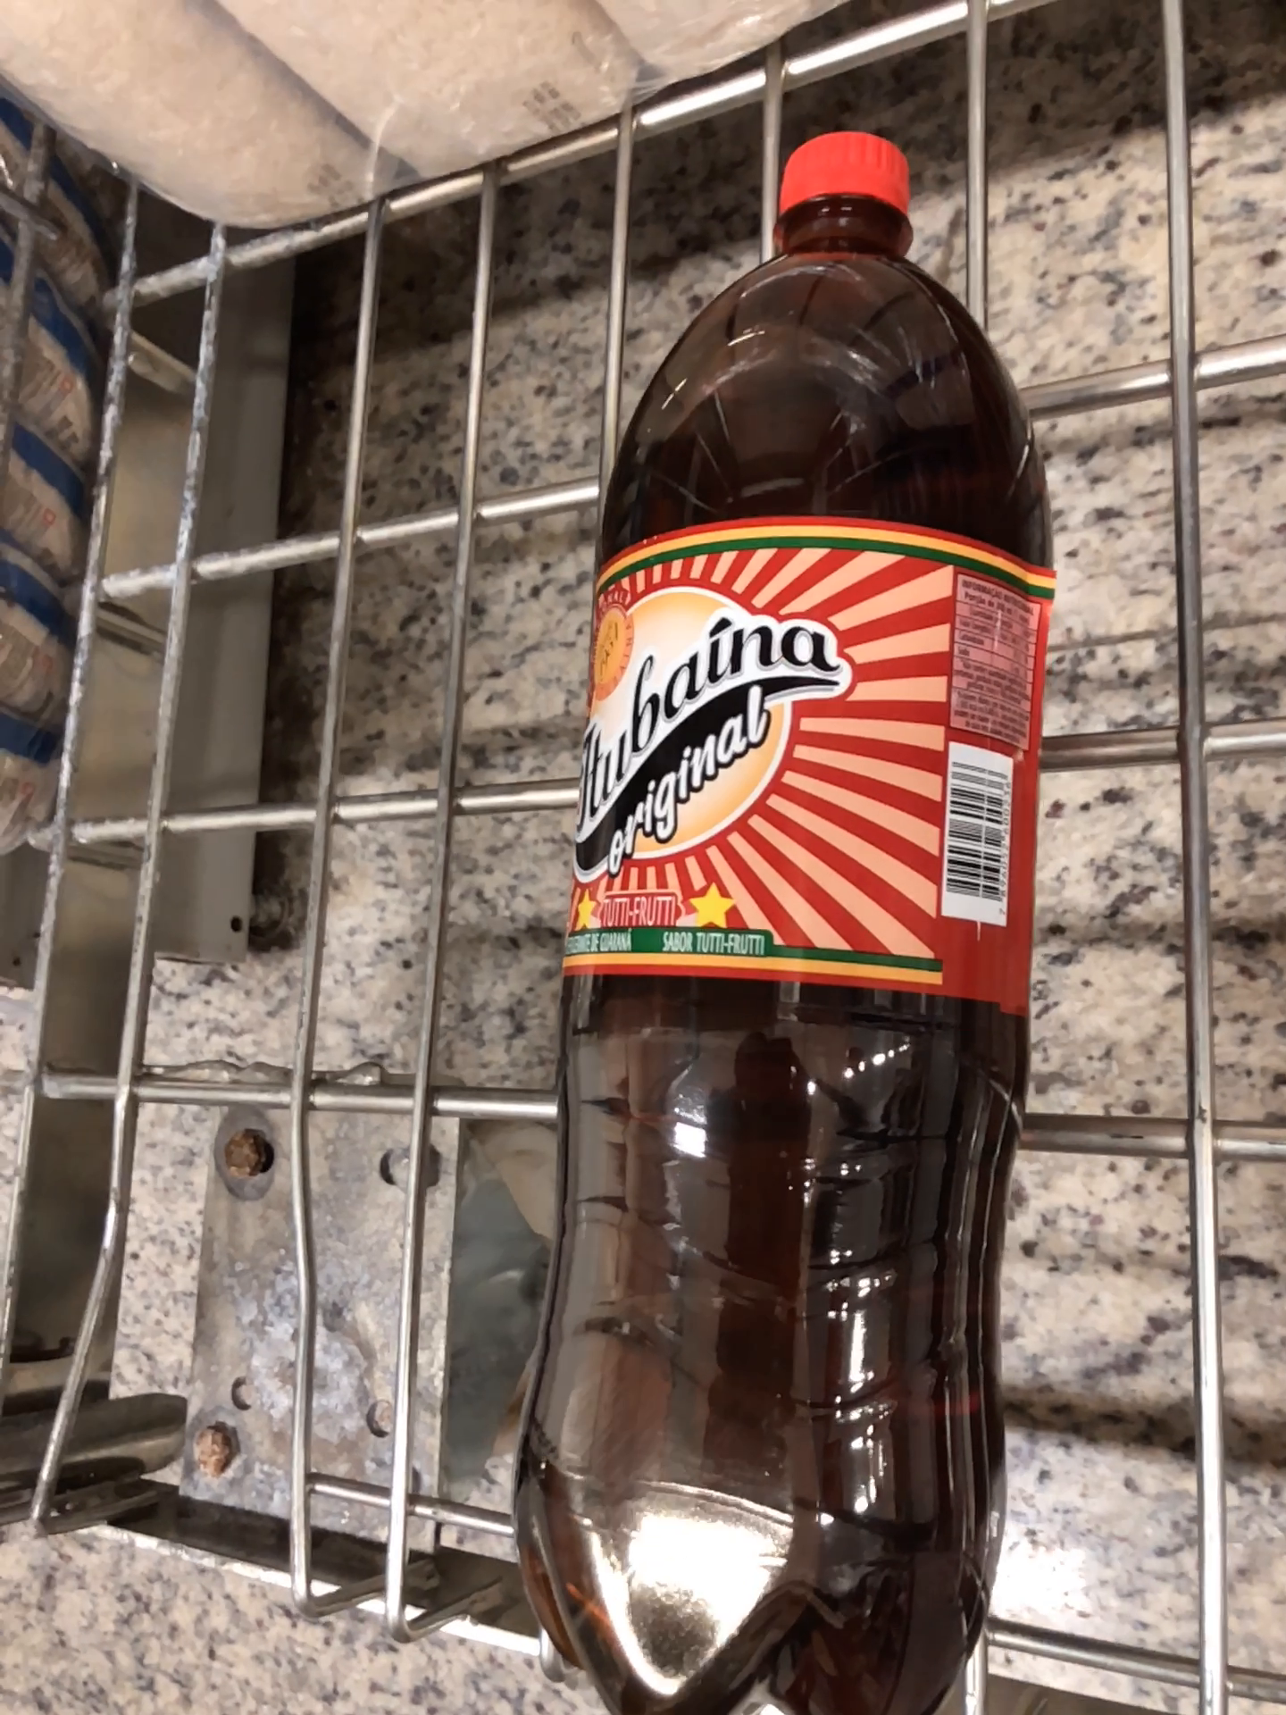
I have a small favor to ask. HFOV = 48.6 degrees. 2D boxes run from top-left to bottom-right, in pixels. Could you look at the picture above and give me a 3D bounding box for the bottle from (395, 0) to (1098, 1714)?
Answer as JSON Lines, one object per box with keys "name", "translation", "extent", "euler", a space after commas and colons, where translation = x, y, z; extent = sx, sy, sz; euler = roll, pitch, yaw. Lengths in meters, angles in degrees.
{"name": "bottle", "translation": [0.025, 0.006, 0.283], "extent": [0.110, 0.070, 0.320], "euler": [-1, 83, 30]}
